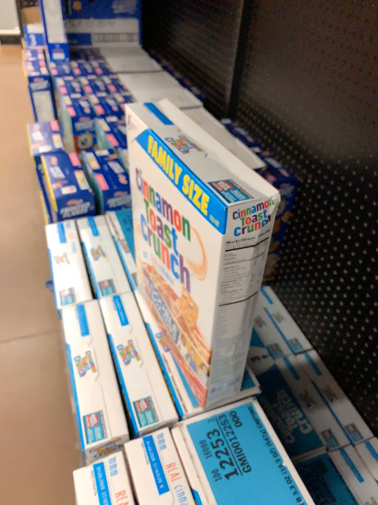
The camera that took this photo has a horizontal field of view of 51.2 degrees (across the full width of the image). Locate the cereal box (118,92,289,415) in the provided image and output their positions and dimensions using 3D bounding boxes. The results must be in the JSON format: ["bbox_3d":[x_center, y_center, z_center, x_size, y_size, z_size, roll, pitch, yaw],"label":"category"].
[{"bbox_3d":[-0.008,0.002,0.473,0.060,0.298,0.241,-15,43,-22],"label":"cereal box"}]
